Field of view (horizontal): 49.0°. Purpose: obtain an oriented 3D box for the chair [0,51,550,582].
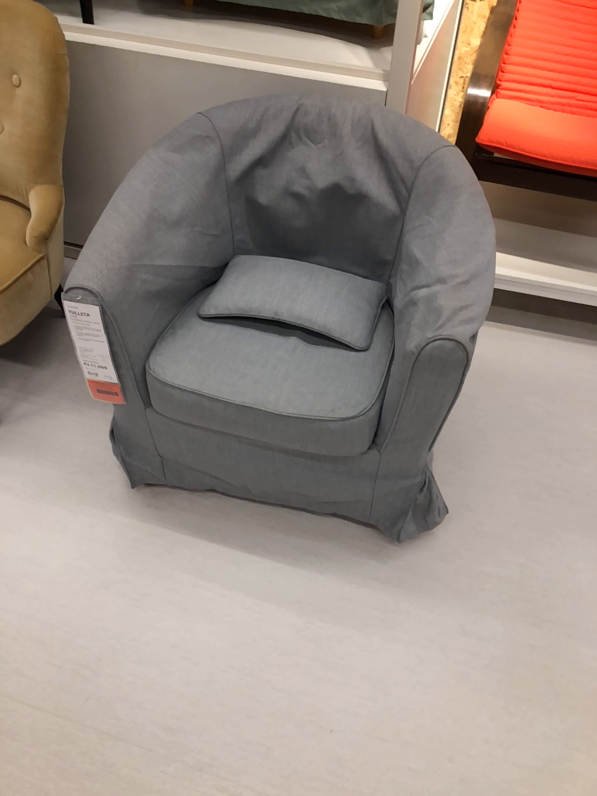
[{"bbox_3d":[0.003,-0.192,1.497,0.870,0.795,0.724,11,48,9],"label":"chair"}]
